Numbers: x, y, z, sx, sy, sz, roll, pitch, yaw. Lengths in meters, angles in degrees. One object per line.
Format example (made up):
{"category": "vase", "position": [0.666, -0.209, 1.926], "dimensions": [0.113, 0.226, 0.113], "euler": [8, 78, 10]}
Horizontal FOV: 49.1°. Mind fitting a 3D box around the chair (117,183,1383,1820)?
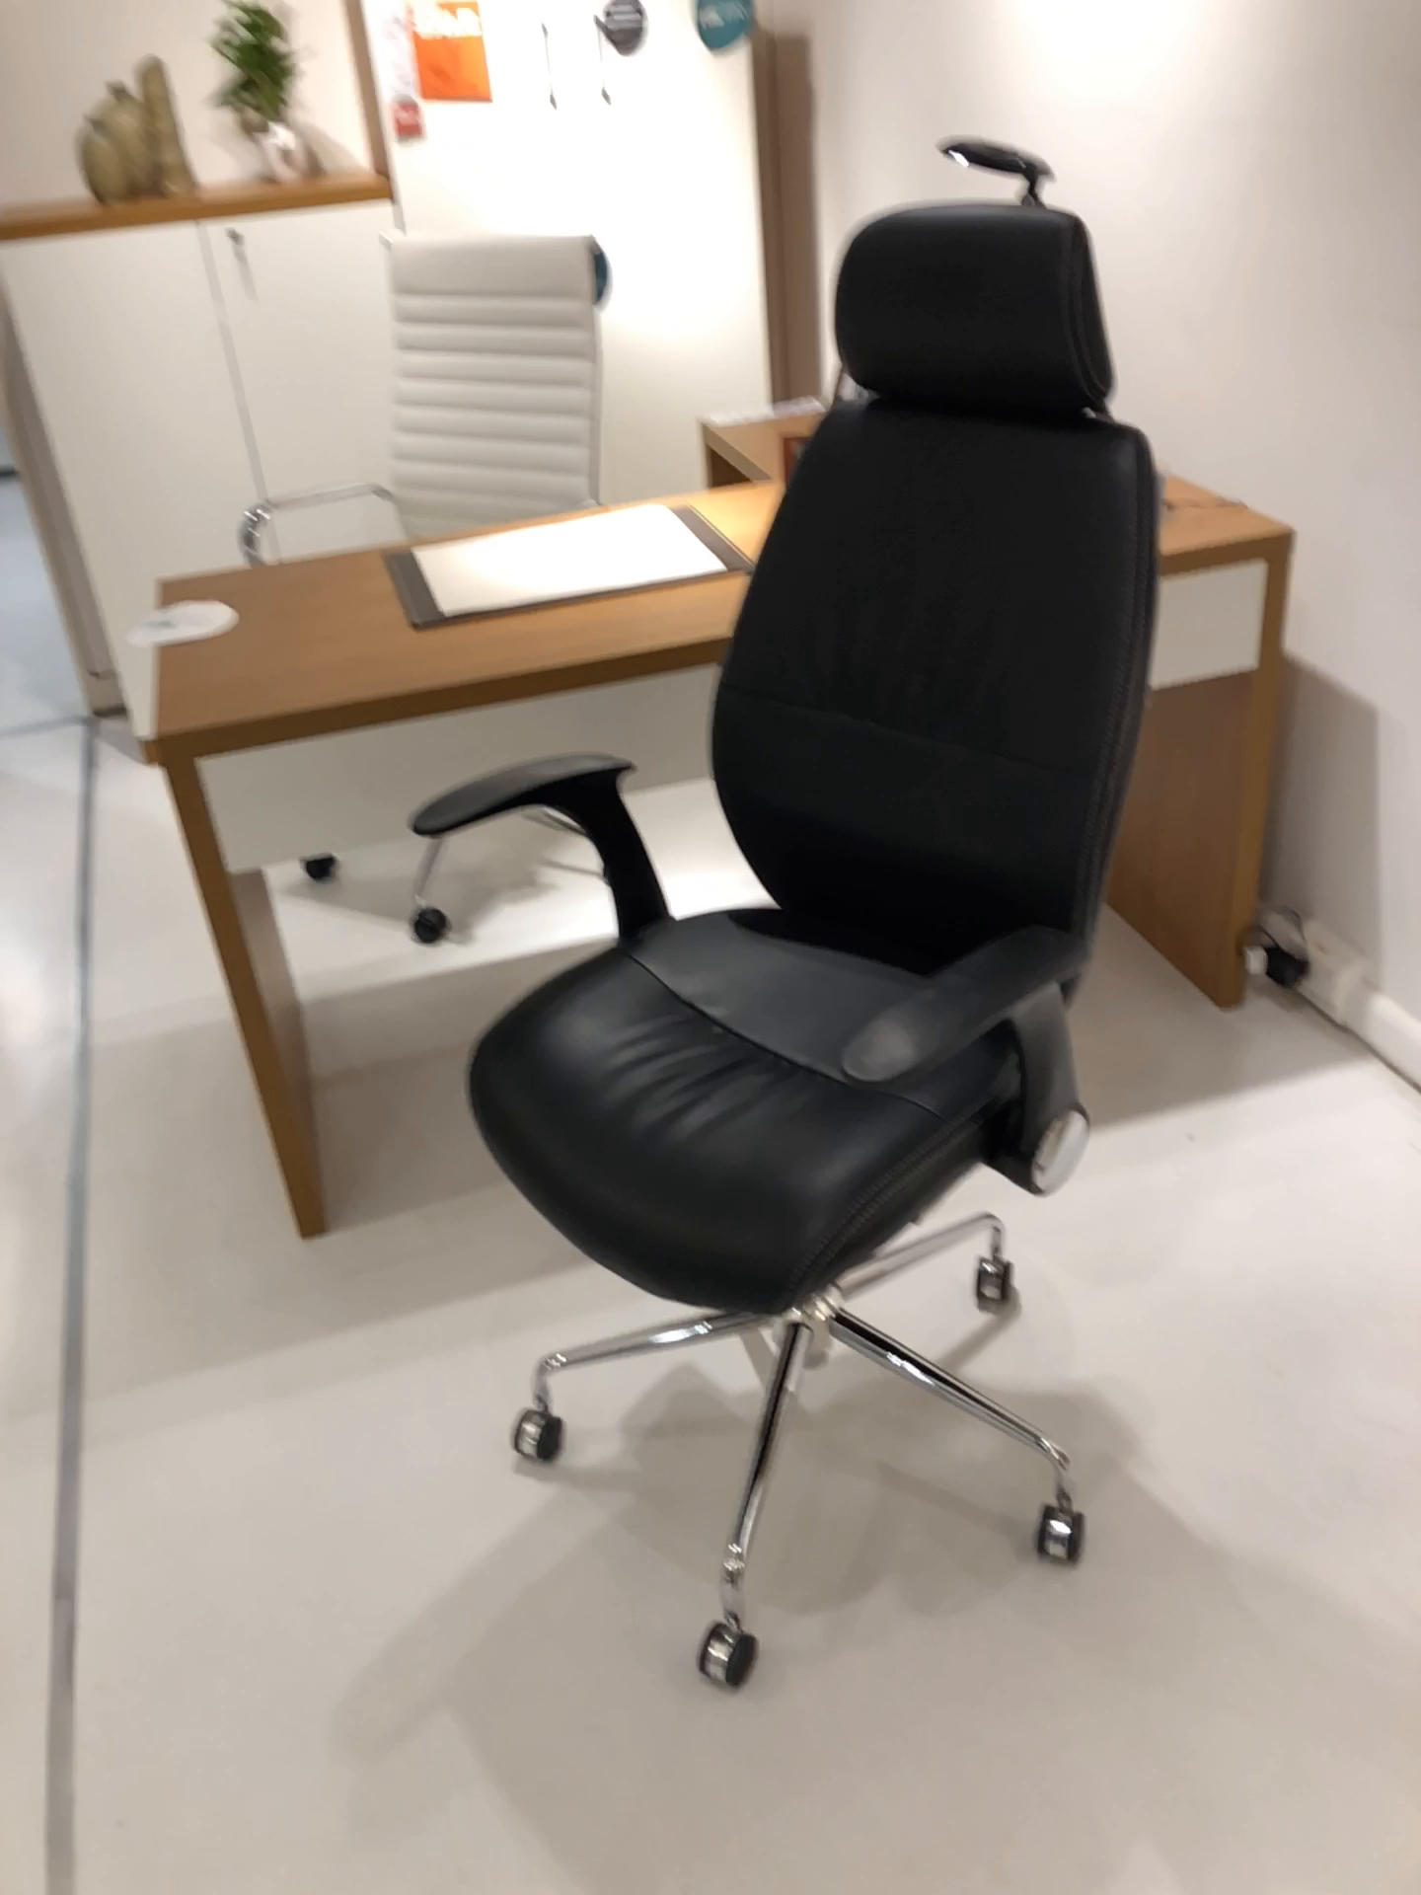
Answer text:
{"category": "chair", "position": [0.076, 0.017, 1.562], "dimensions": [0.714, 1.300, 0.692], "euler": [-30, 40, -33]}
